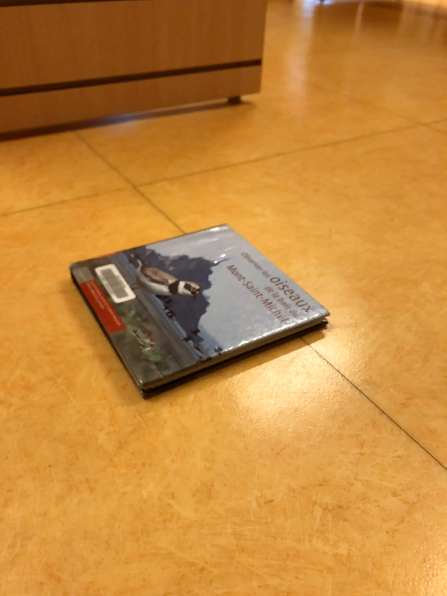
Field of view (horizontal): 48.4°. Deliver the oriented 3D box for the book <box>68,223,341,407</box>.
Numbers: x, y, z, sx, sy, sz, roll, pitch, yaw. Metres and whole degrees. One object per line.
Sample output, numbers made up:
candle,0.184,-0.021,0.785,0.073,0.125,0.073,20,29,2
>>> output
book,-0.020,-0.002,0.387,0.156,0.015,0.153,-17,42,-25
